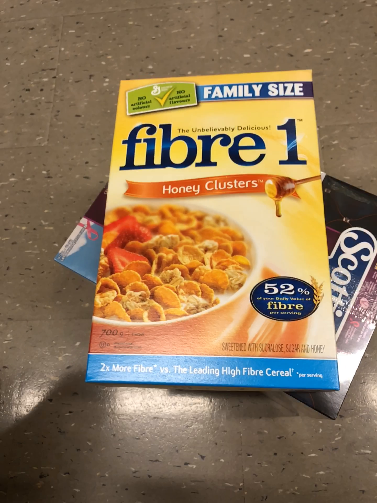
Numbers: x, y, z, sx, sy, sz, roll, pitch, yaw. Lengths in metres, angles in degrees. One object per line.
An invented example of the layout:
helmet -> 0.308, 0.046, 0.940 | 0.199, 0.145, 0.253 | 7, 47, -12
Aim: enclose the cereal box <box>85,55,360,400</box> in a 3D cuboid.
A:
cereal box -> 0.031, -0.031, 0.404 | 0.200, 0.080, 0.320 | 0, 68, 6
